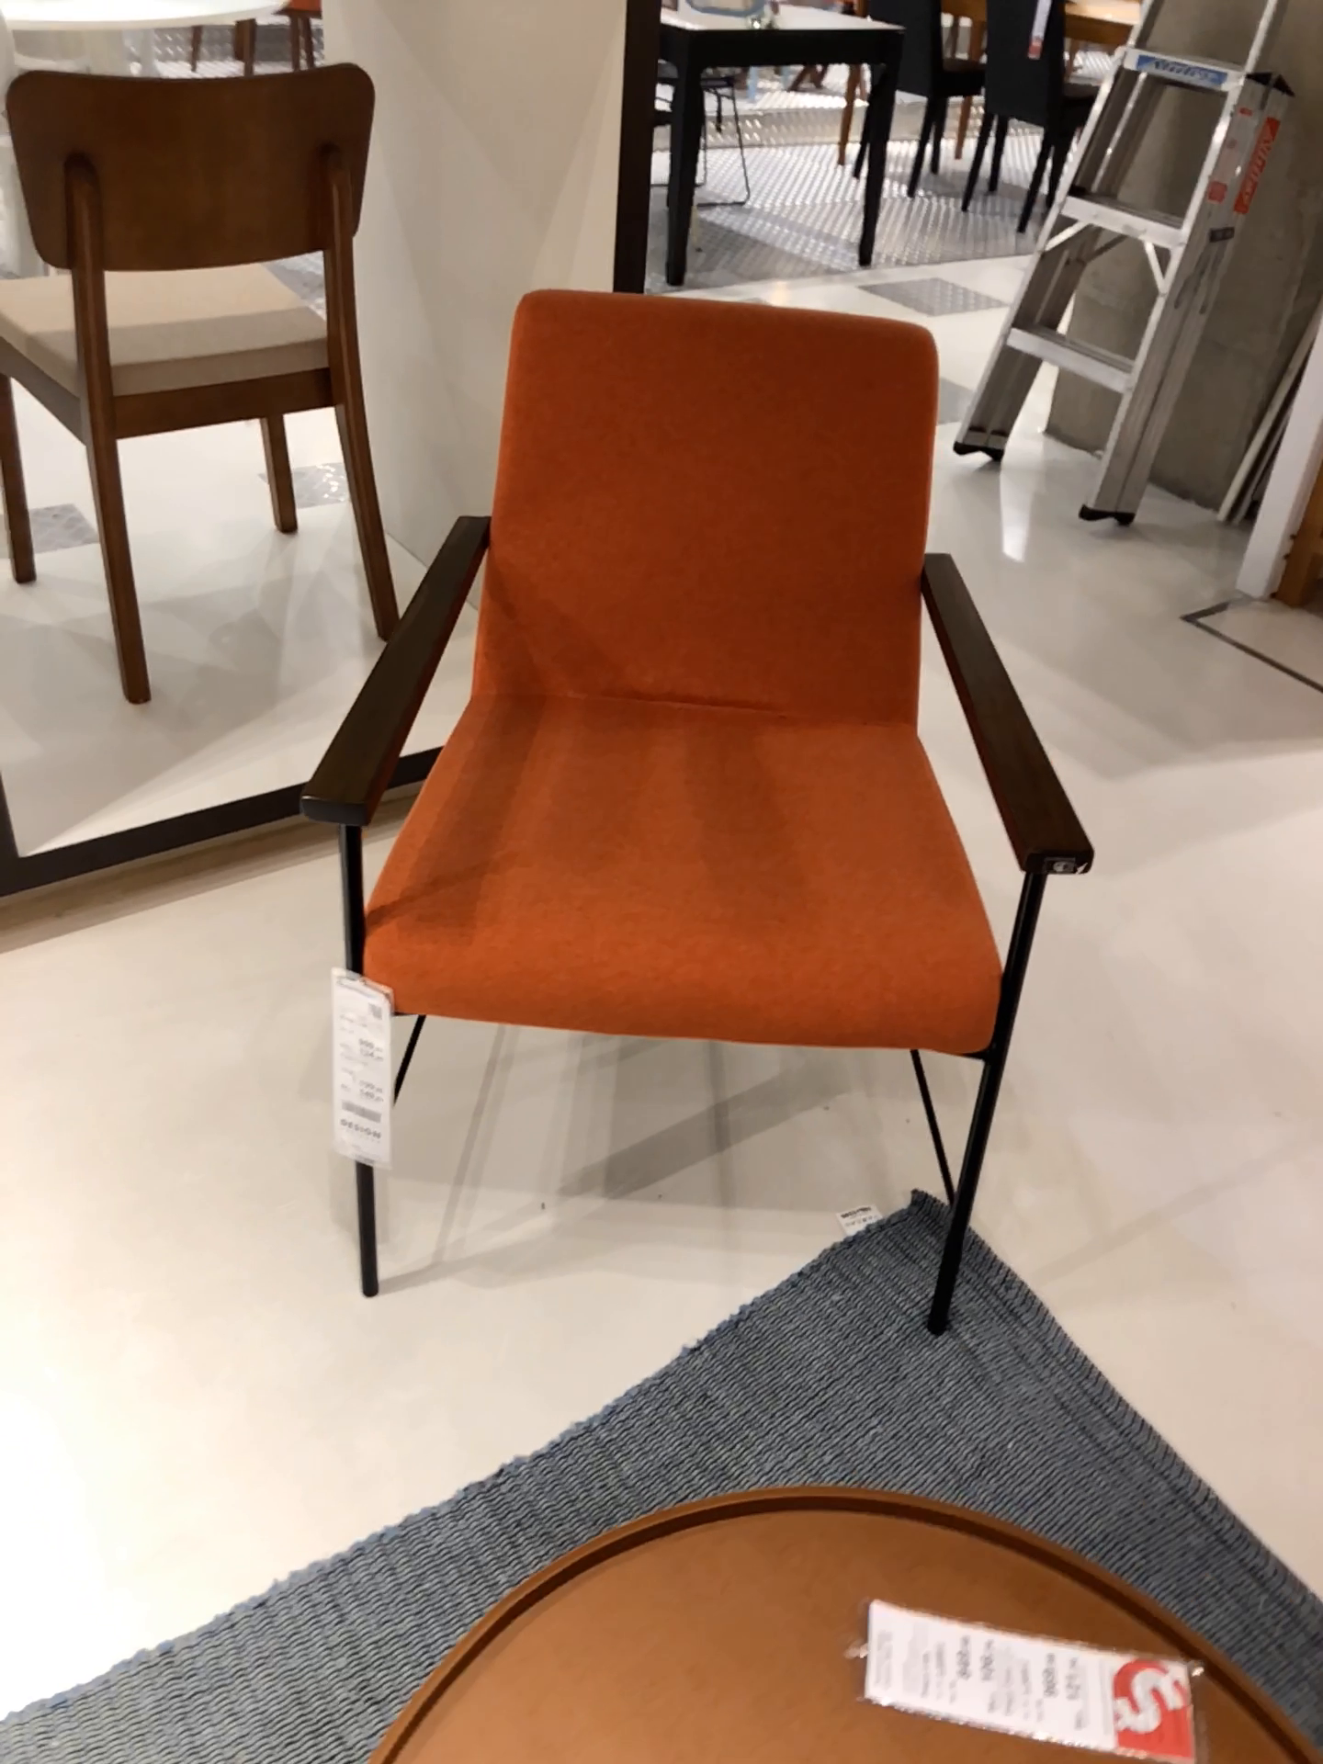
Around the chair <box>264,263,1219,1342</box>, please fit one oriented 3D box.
[{"bbox_3d":[0.039,-0.098,1.509,0.650,0.823,0.706,4,36,-1],"label":"chair"}]
